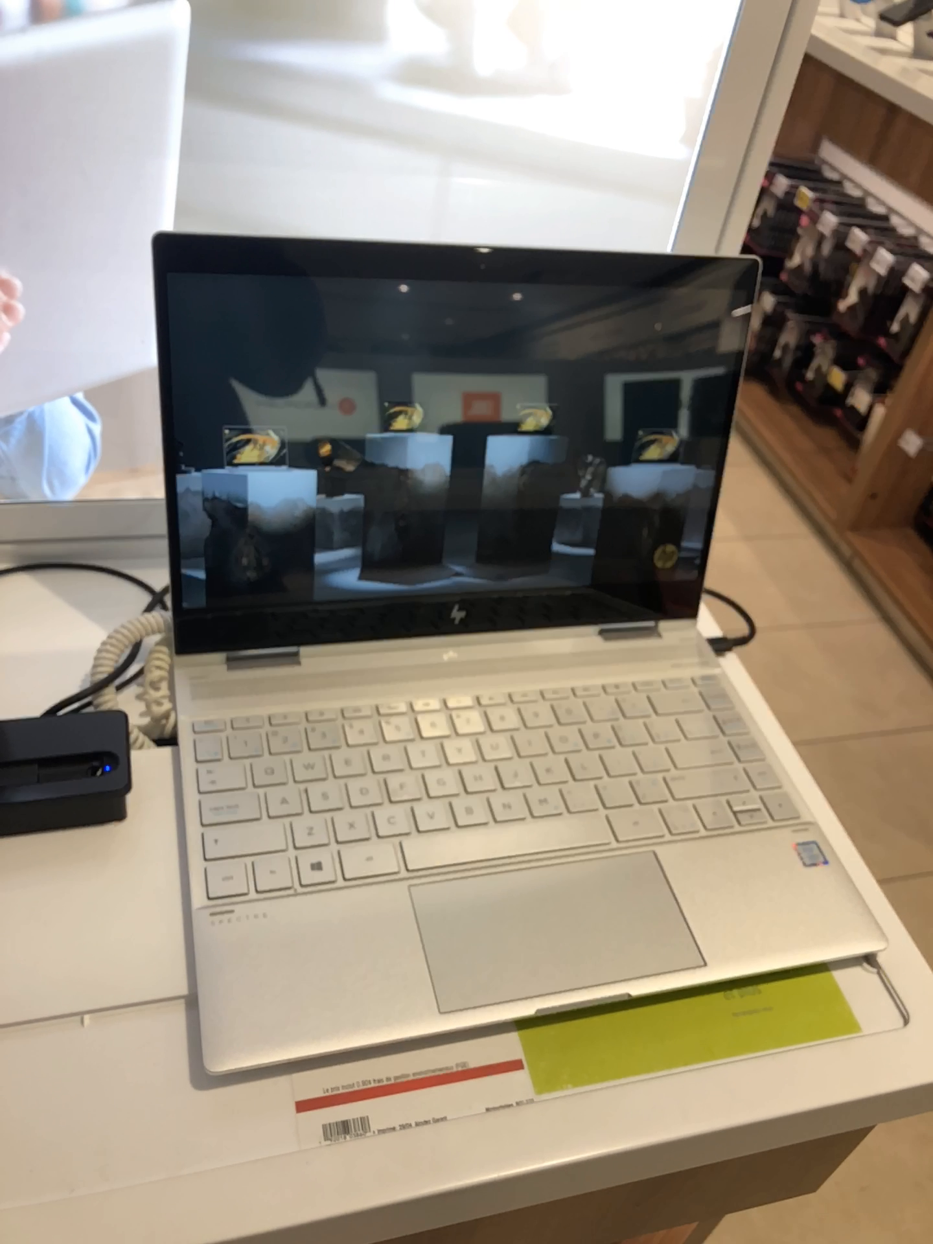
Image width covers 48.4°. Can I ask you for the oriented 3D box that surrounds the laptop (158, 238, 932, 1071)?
[{"bbox_3d":[0.028,-0.012,0.461,0.299,0.193,0.283,-4,43,-16],"label":"laptop"}]
